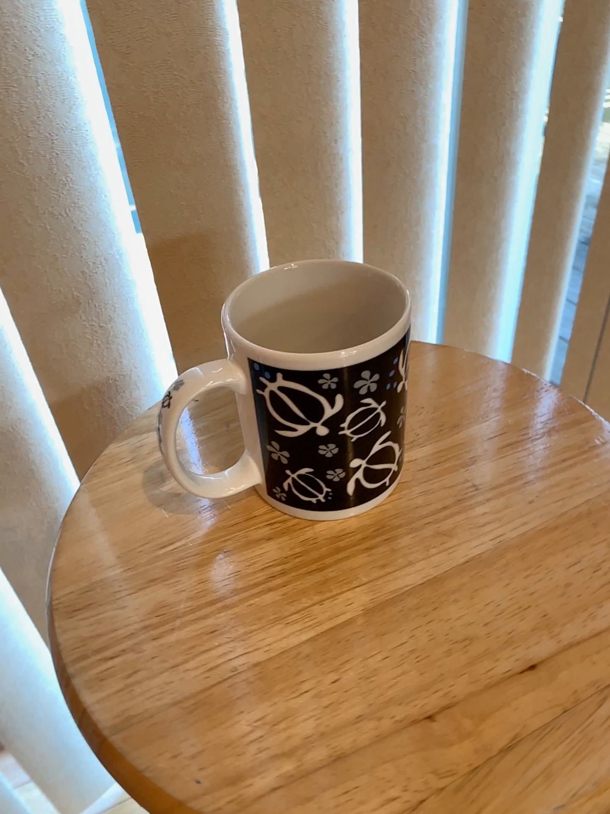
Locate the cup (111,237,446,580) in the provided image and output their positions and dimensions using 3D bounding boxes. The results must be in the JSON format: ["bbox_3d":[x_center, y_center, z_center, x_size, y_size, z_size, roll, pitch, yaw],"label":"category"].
[{"bbox_3d":[-0.013,-0.004,0.301,0.120,0.099,0.090,-17,40,-15],"label":"cup"}]
